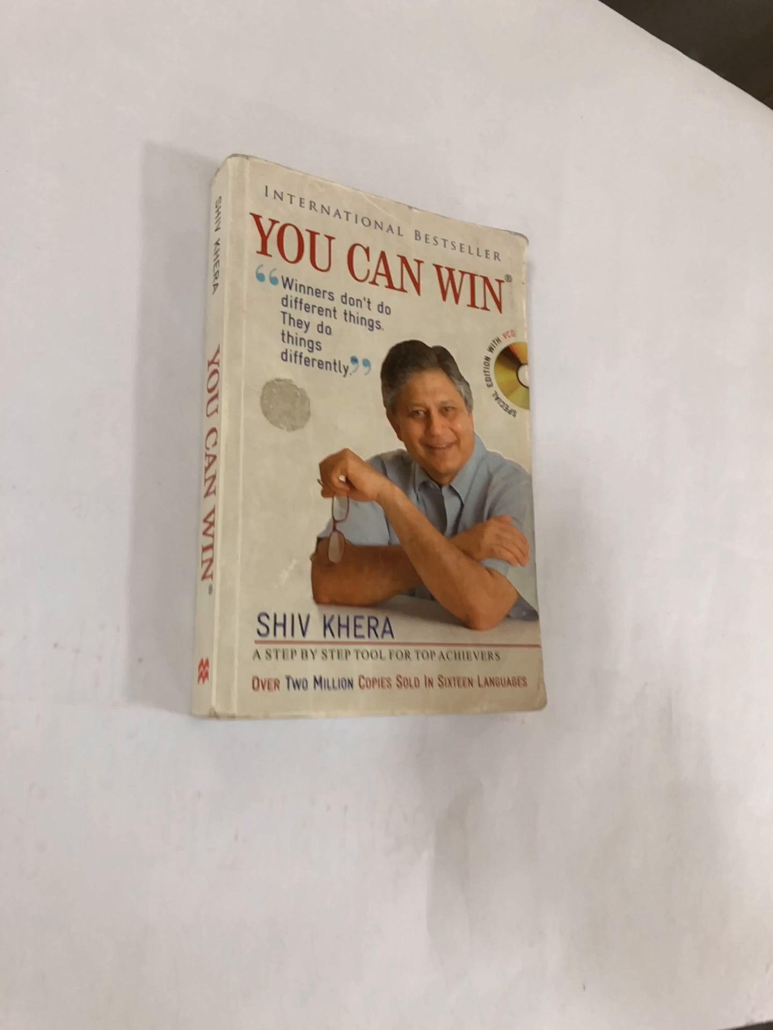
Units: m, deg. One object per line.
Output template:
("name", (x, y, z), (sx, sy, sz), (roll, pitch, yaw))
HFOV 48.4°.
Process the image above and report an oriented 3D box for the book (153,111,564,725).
("book", (-0.007, -0.029, 0.336), (0.150, 0.040, 0.210), (6, 77, -31))
